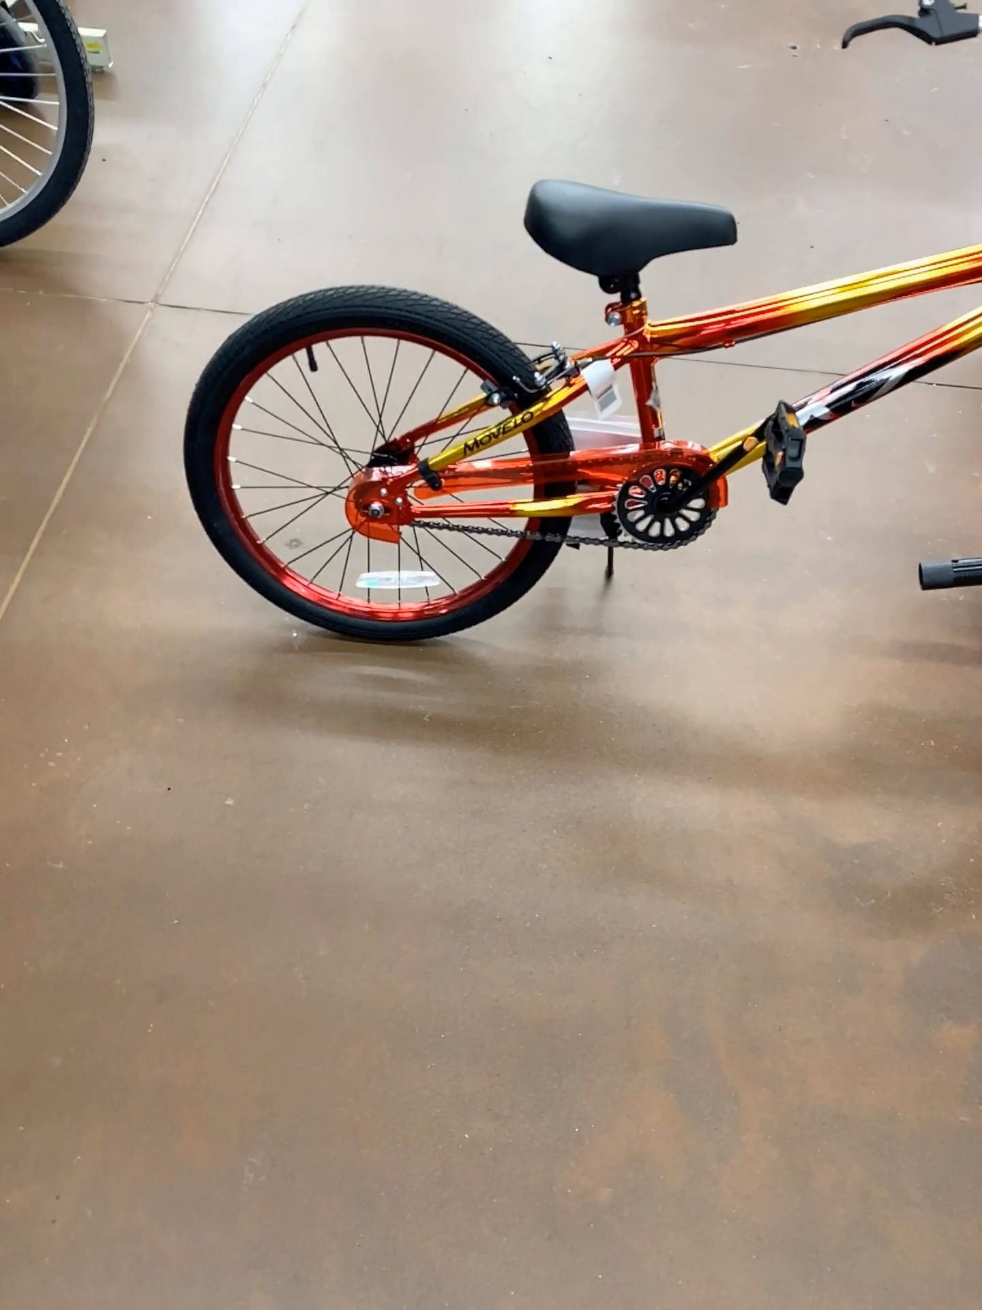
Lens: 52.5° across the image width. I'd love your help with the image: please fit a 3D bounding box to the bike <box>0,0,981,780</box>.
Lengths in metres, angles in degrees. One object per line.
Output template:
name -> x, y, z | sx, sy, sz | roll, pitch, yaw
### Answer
bike -> 0.219, -0.476, 1.141 | 1.123, 0.926, 0.706 | -3, 51, -7
